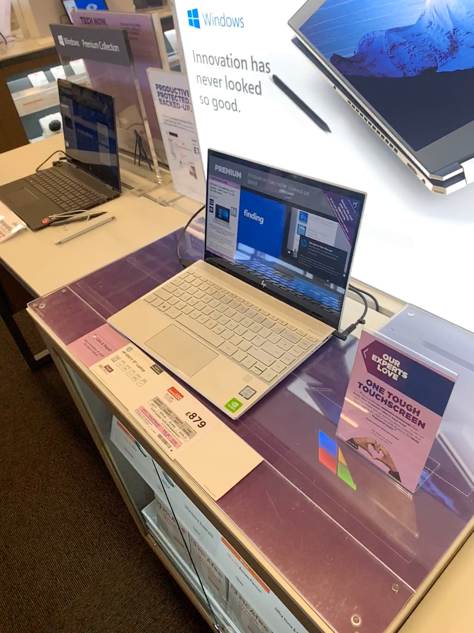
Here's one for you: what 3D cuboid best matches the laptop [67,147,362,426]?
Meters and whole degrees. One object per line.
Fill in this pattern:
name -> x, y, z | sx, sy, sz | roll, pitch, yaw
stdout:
laptop -> -0.027, -0.070, 0.683 | 0.261, 0.181, 0.297 | -36, 47, -28

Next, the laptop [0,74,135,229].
laptop -> -0.525, -0.465, 1.340 | 0.313, 0.236, 0.300 | -35, 49, -27
